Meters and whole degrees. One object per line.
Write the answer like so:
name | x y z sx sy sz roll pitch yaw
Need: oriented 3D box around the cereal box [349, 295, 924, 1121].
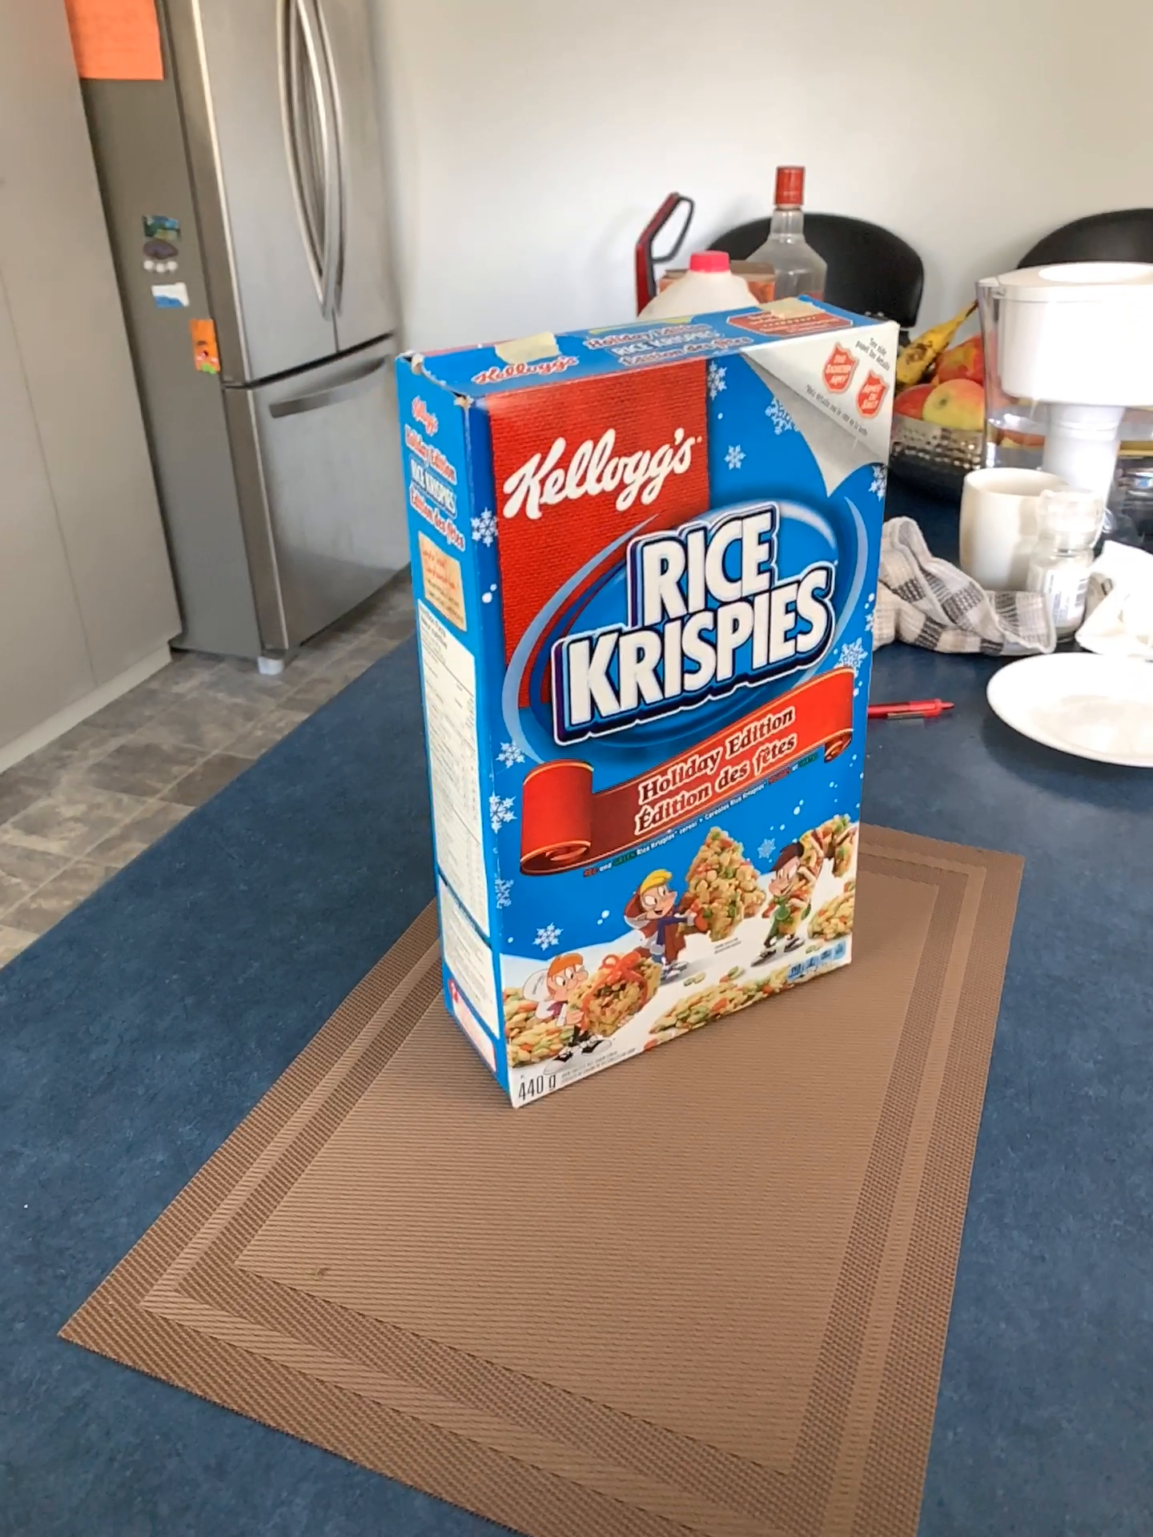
cereal box | 0.033 -0.030 0.543 0.221 0.327 0.080 -17 30 -26
